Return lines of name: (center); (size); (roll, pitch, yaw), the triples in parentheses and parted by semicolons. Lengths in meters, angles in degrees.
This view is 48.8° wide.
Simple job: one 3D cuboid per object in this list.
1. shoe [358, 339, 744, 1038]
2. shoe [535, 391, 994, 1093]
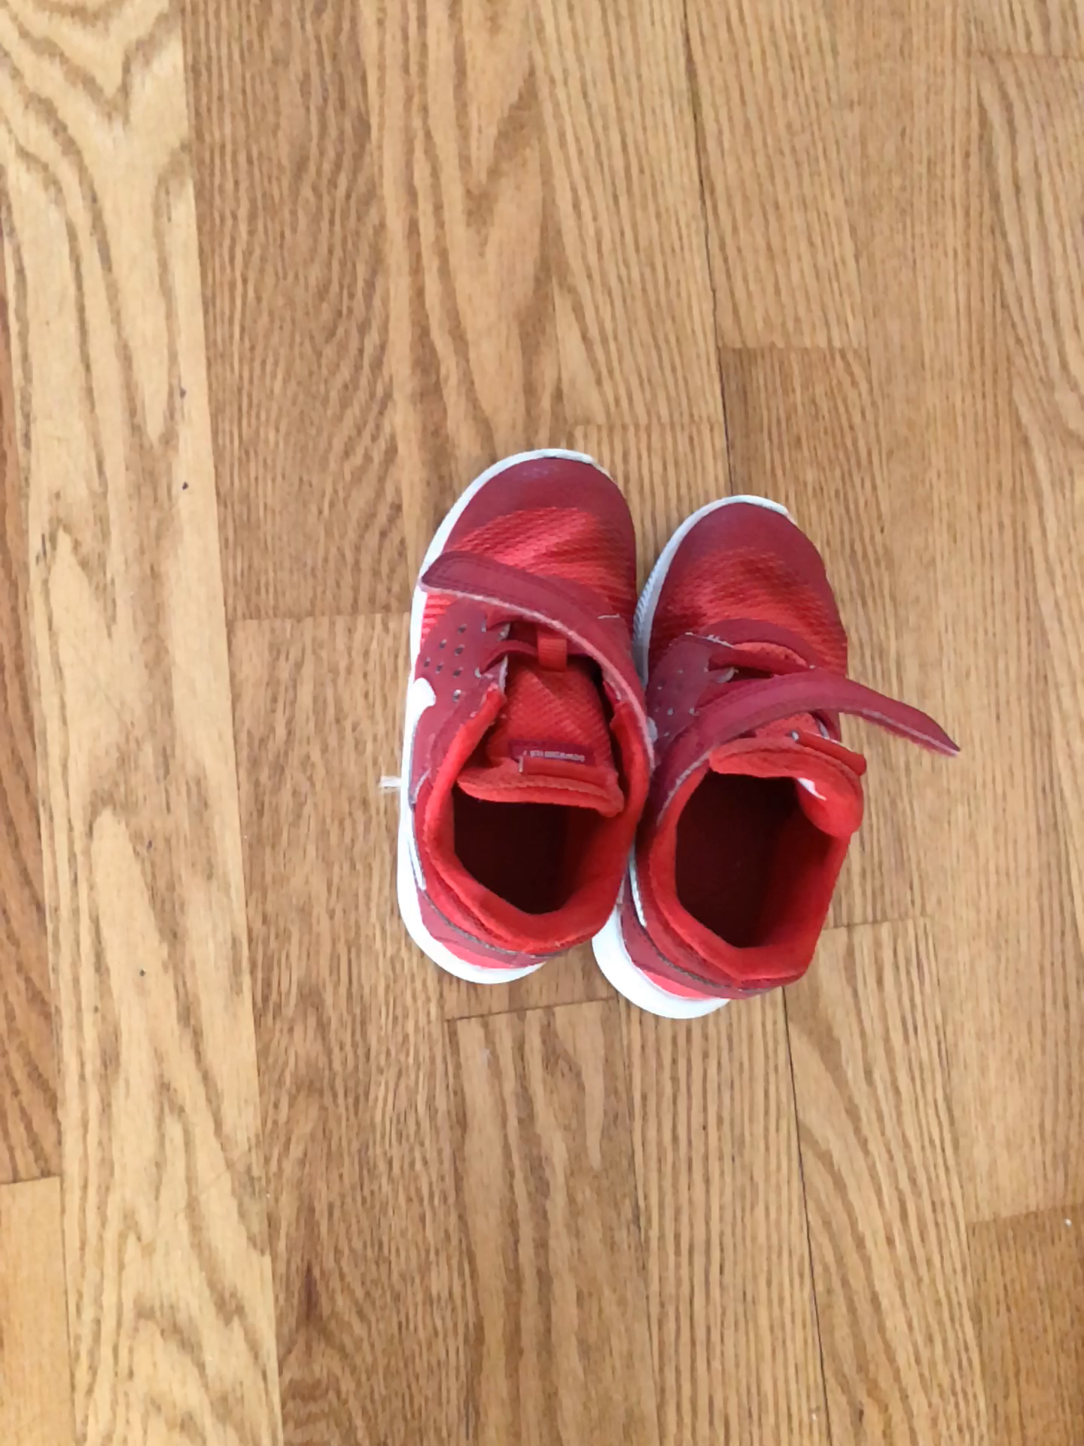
shoe: (0.000, -0.006, 0.346); (0.081, 0.069, 0.175); (7, 83, -13)
shoe: (0.065, 0.008, 0.359); (0.088, 0.069, 0.177); (13, 81, -12)
